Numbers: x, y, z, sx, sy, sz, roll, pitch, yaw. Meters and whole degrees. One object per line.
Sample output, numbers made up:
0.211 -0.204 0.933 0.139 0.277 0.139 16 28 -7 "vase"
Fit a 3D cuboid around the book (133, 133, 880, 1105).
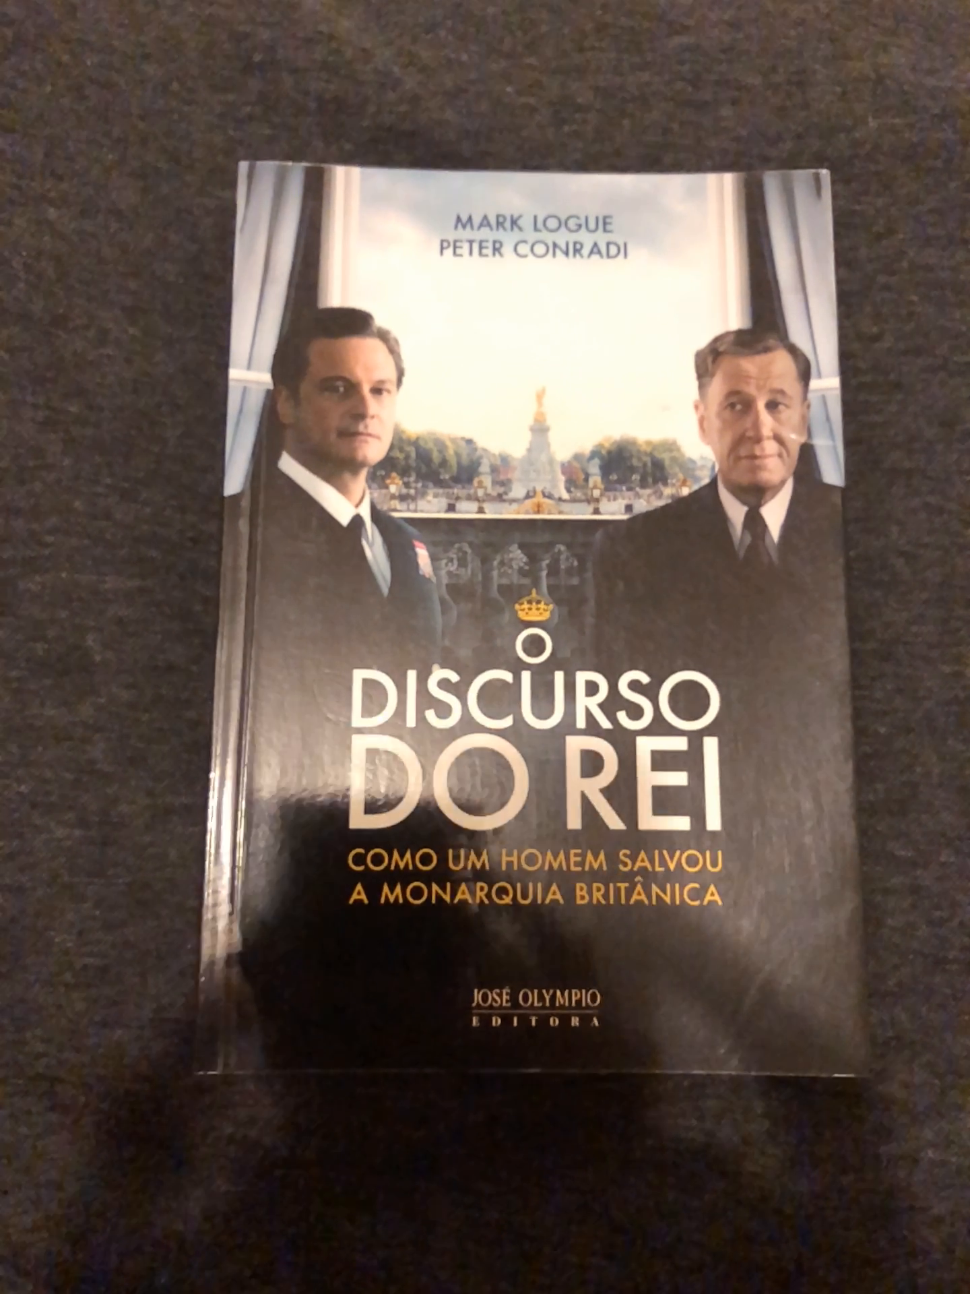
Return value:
0.006 -0.013 0.267 0.160 0.030 0.230 1 79 -1 "book"
